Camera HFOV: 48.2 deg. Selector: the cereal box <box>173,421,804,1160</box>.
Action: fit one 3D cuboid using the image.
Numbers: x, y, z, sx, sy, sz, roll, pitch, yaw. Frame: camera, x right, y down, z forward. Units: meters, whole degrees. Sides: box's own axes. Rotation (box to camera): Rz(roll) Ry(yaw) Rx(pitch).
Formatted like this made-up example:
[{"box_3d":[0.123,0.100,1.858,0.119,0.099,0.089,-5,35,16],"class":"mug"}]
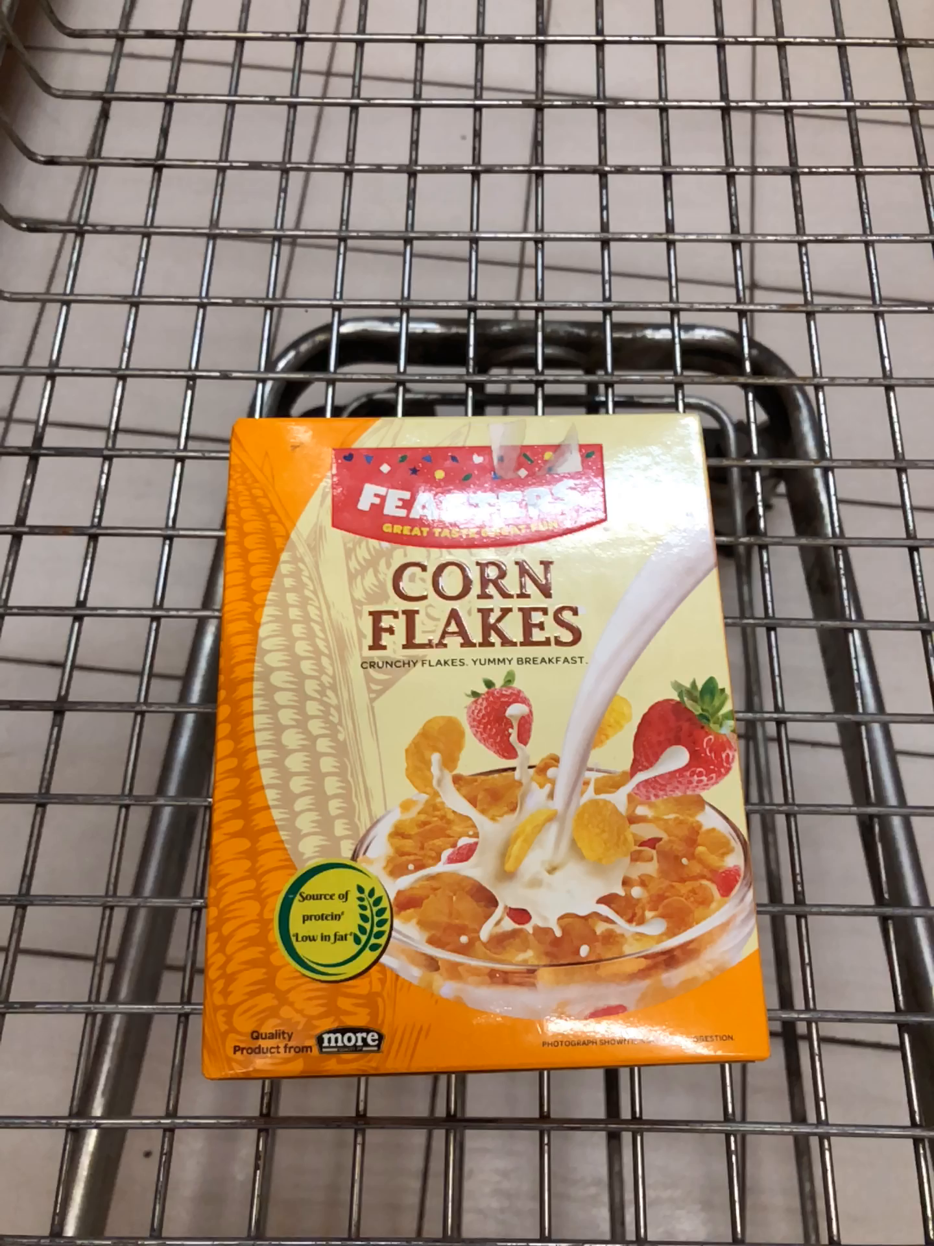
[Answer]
[{"box_3d":[0.003,0.040,0.287,0.140,0.060,0.180,-1,73,-1],"class":"cereal box"}]
